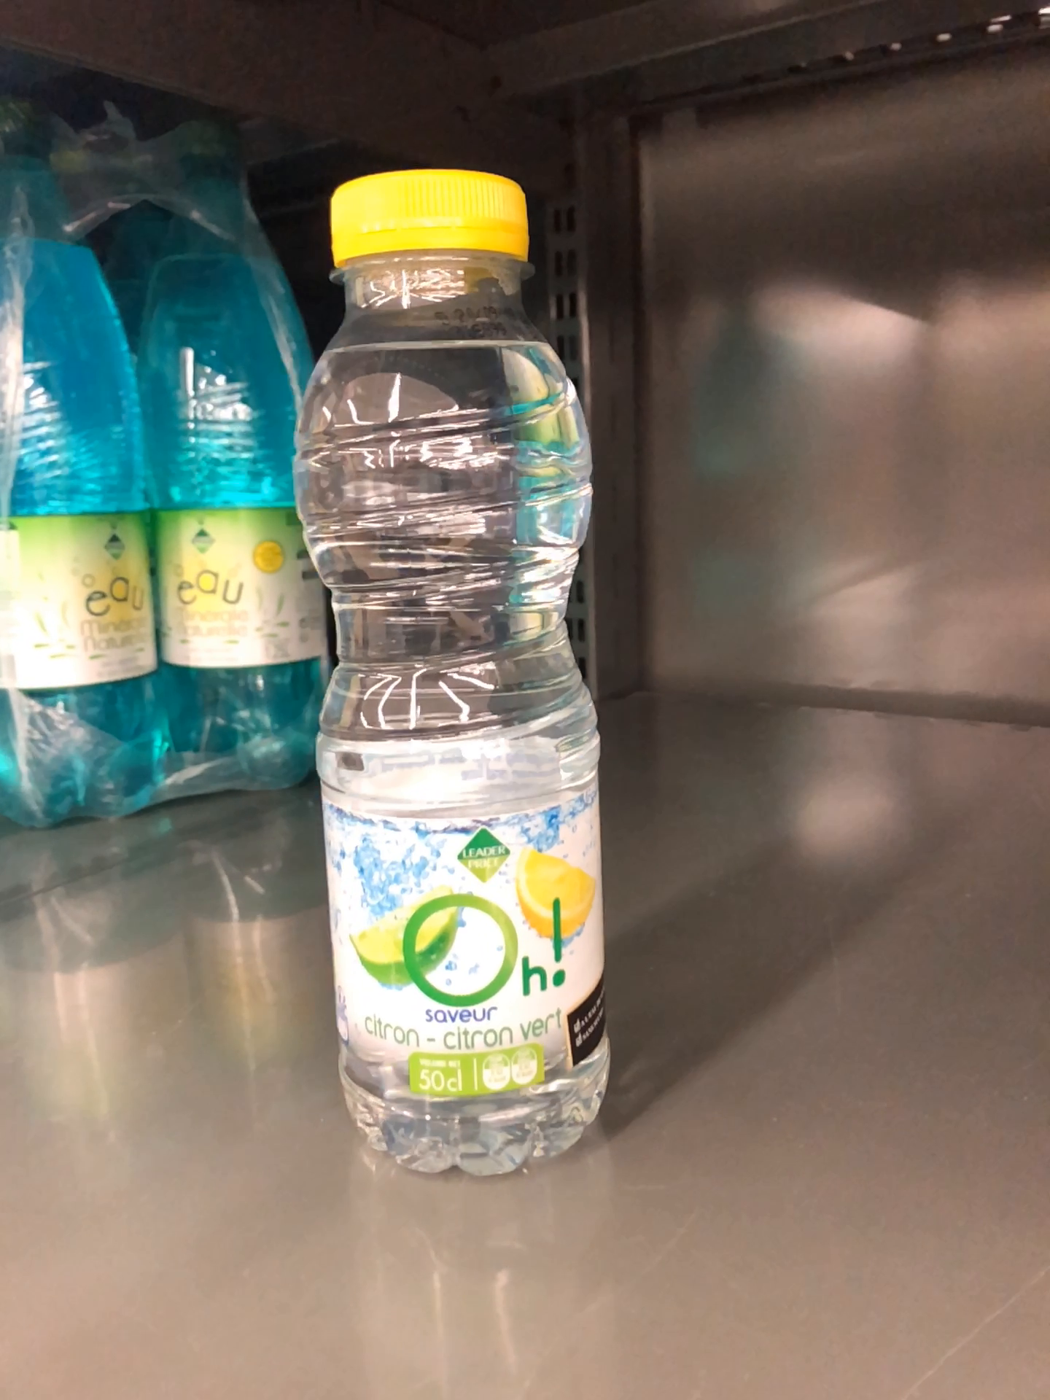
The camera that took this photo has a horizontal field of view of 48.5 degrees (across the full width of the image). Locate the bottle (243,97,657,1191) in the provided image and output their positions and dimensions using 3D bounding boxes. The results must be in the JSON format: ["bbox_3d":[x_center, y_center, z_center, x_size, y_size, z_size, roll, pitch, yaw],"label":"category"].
[{"bbox_3d":[-0.010,-0.007,0.253,0.070,0.209,0.060,-2,10,2],"label":"bottle"}]
